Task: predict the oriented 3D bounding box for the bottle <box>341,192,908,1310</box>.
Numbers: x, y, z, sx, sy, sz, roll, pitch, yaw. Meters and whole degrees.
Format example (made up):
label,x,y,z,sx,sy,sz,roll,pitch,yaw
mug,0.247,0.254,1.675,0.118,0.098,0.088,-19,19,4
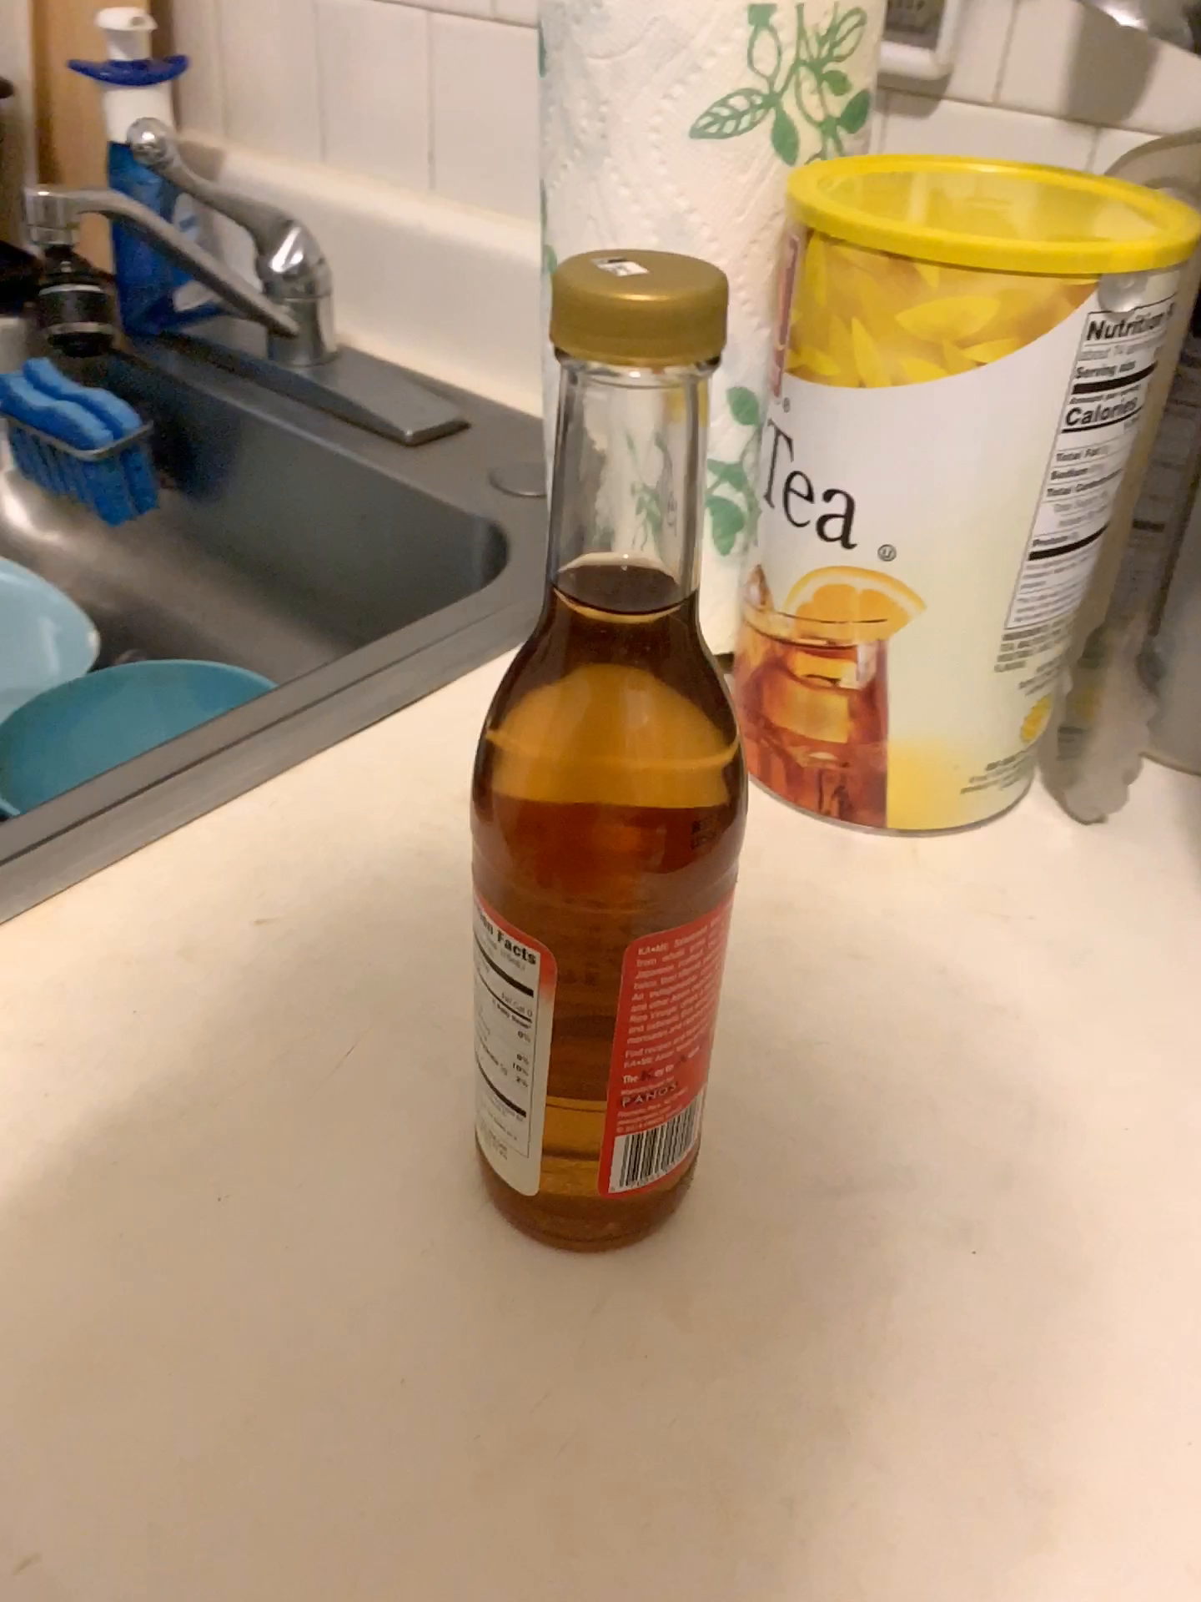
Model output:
label,x,y,z,sx,sy,sz,roll,pitch,yaw
bottle,-0.006,0.005,0.274,0.070,0.239,0.070,3,37,-2
